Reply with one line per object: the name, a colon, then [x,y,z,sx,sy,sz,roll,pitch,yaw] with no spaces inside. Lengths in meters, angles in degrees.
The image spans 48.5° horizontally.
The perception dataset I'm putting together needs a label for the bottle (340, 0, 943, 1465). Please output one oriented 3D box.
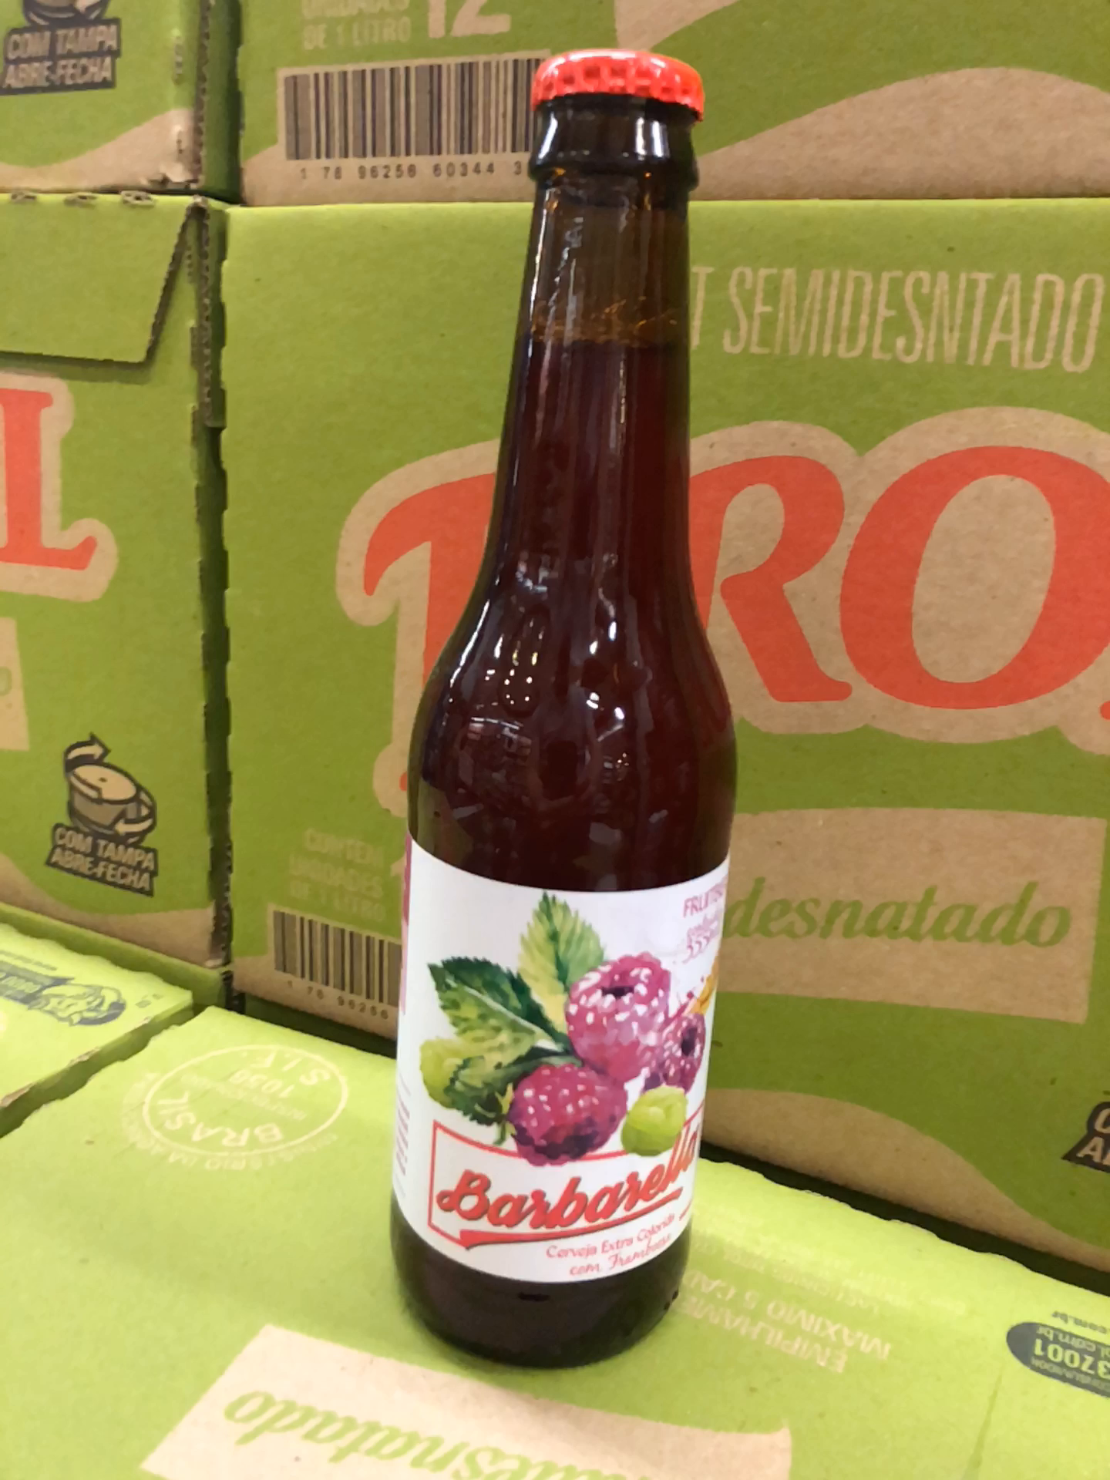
bottle: [0.005,0.006,0.223,0.070,0.229,0.060,-1,16,-20]
